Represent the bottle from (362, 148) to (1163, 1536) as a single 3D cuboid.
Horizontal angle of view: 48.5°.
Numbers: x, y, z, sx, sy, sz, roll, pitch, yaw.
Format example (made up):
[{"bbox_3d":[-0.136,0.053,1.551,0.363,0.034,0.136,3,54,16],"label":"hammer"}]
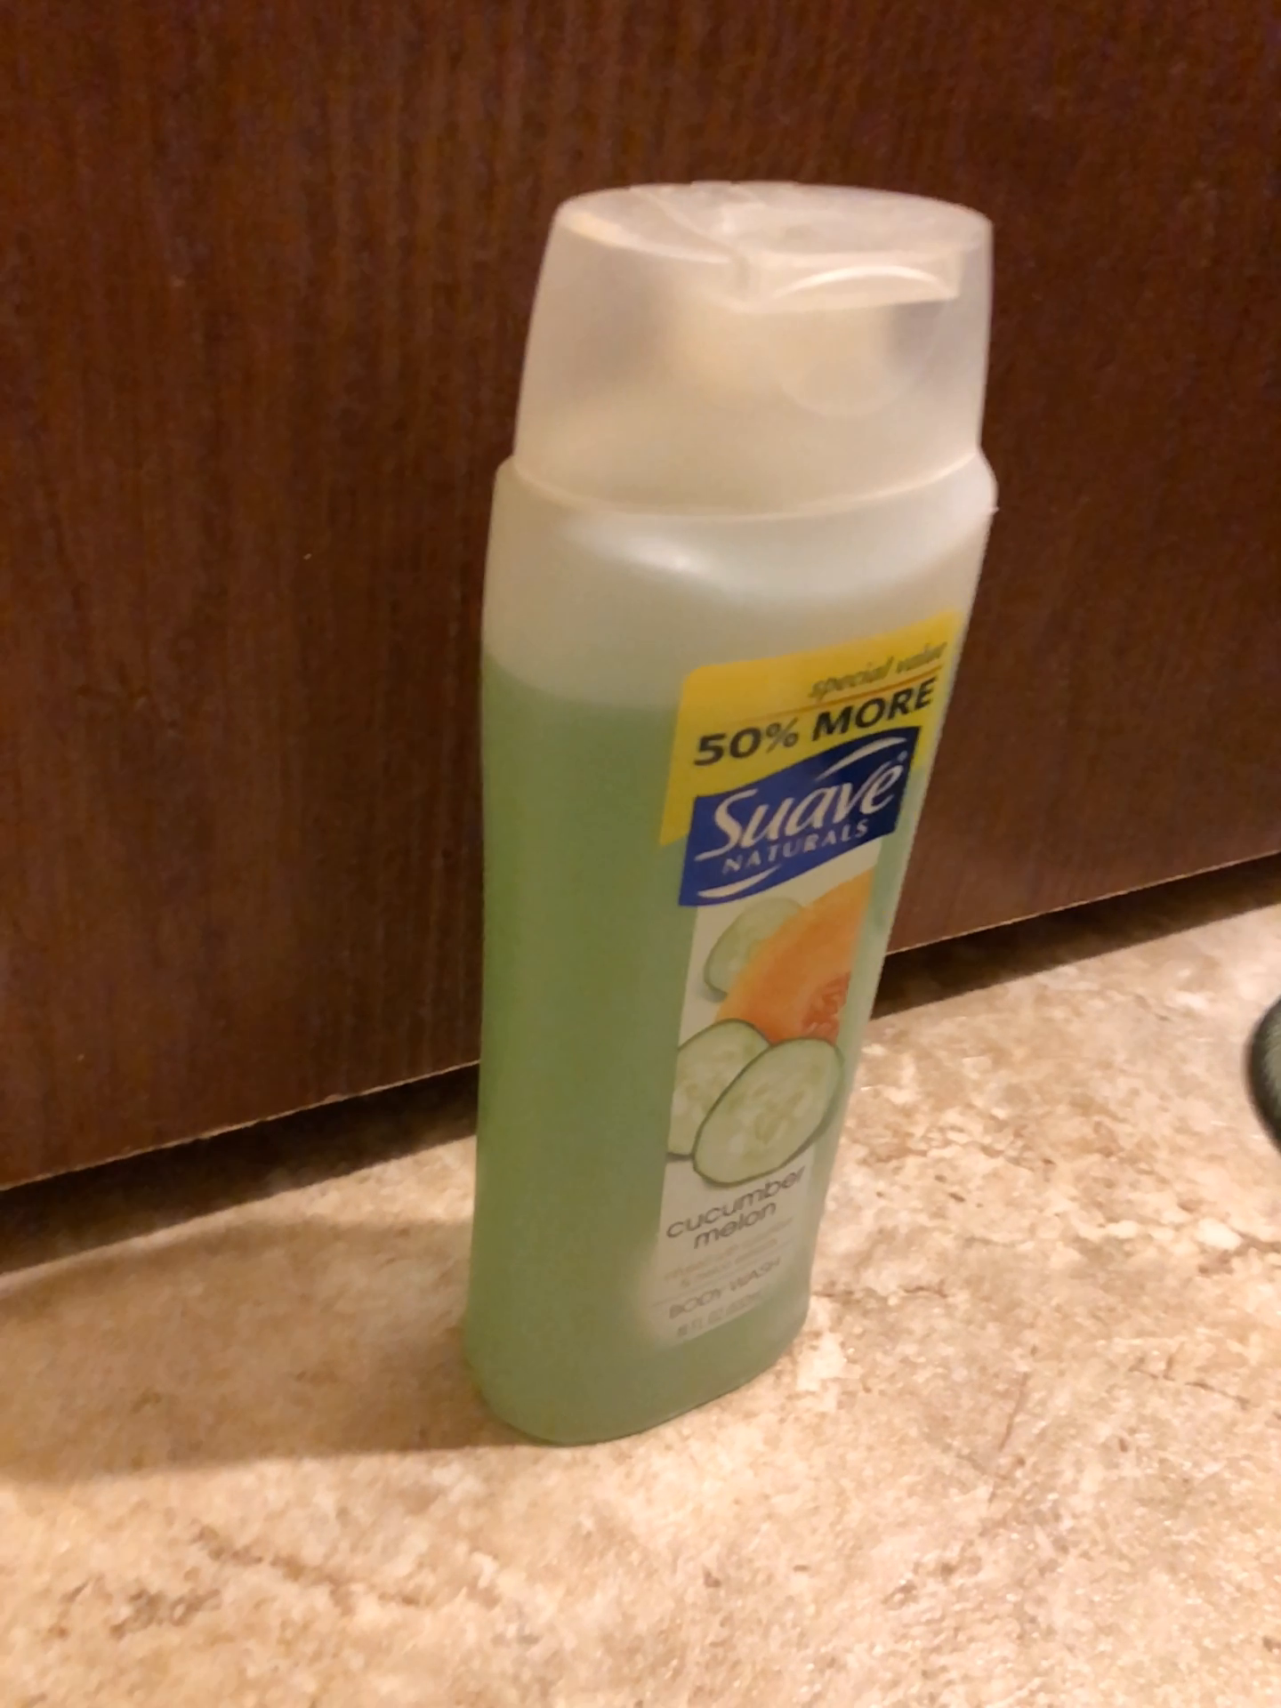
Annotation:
[{"bbox_3d":[0.007,0.013,0.250,0.090,0.239,0.050,-17,41,-28],"label":"bottle"}]
